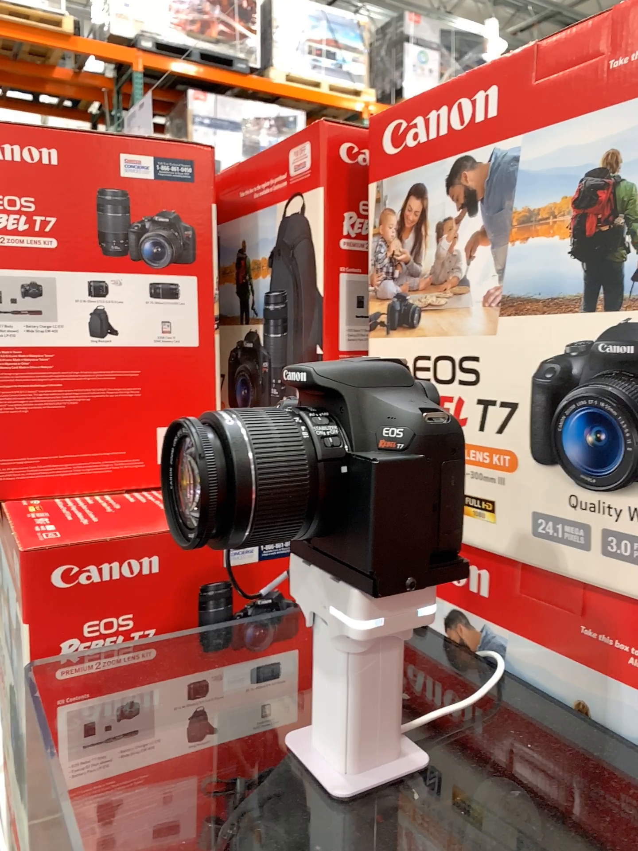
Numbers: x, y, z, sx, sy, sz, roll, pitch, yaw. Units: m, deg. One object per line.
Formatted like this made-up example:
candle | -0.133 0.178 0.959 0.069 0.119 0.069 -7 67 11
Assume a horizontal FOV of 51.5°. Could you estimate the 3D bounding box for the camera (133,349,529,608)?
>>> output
camera | 0.000 0.010 0.354 0.160 0.100 0.140 -4 8 -29
